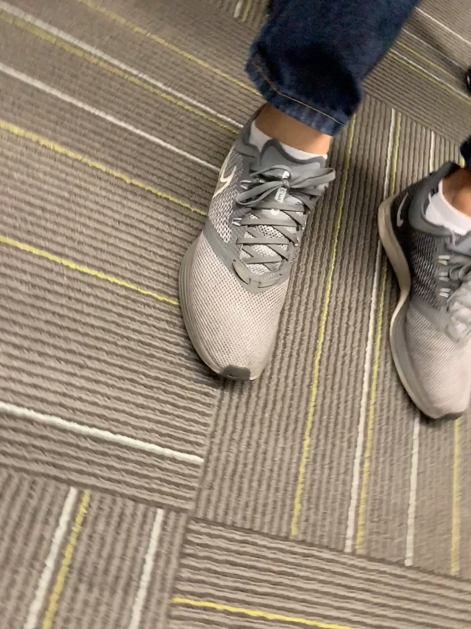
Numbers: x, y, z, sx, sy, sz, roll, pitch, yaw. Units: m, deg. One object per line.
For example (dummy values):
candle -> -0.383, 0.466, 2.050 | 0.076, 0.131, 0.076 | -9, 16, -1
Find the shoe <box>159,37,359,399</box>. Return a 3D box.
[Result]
shoe -> 0.026, -0.083, 0.457 | 0.120, 0.123, 0.290 | 15, 67, -19

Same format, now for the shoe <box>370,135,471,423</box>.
shoe -> 0.257, -0.031, 0.551 | 0.120, 0.123, 0.290 | 6, 71, -22
